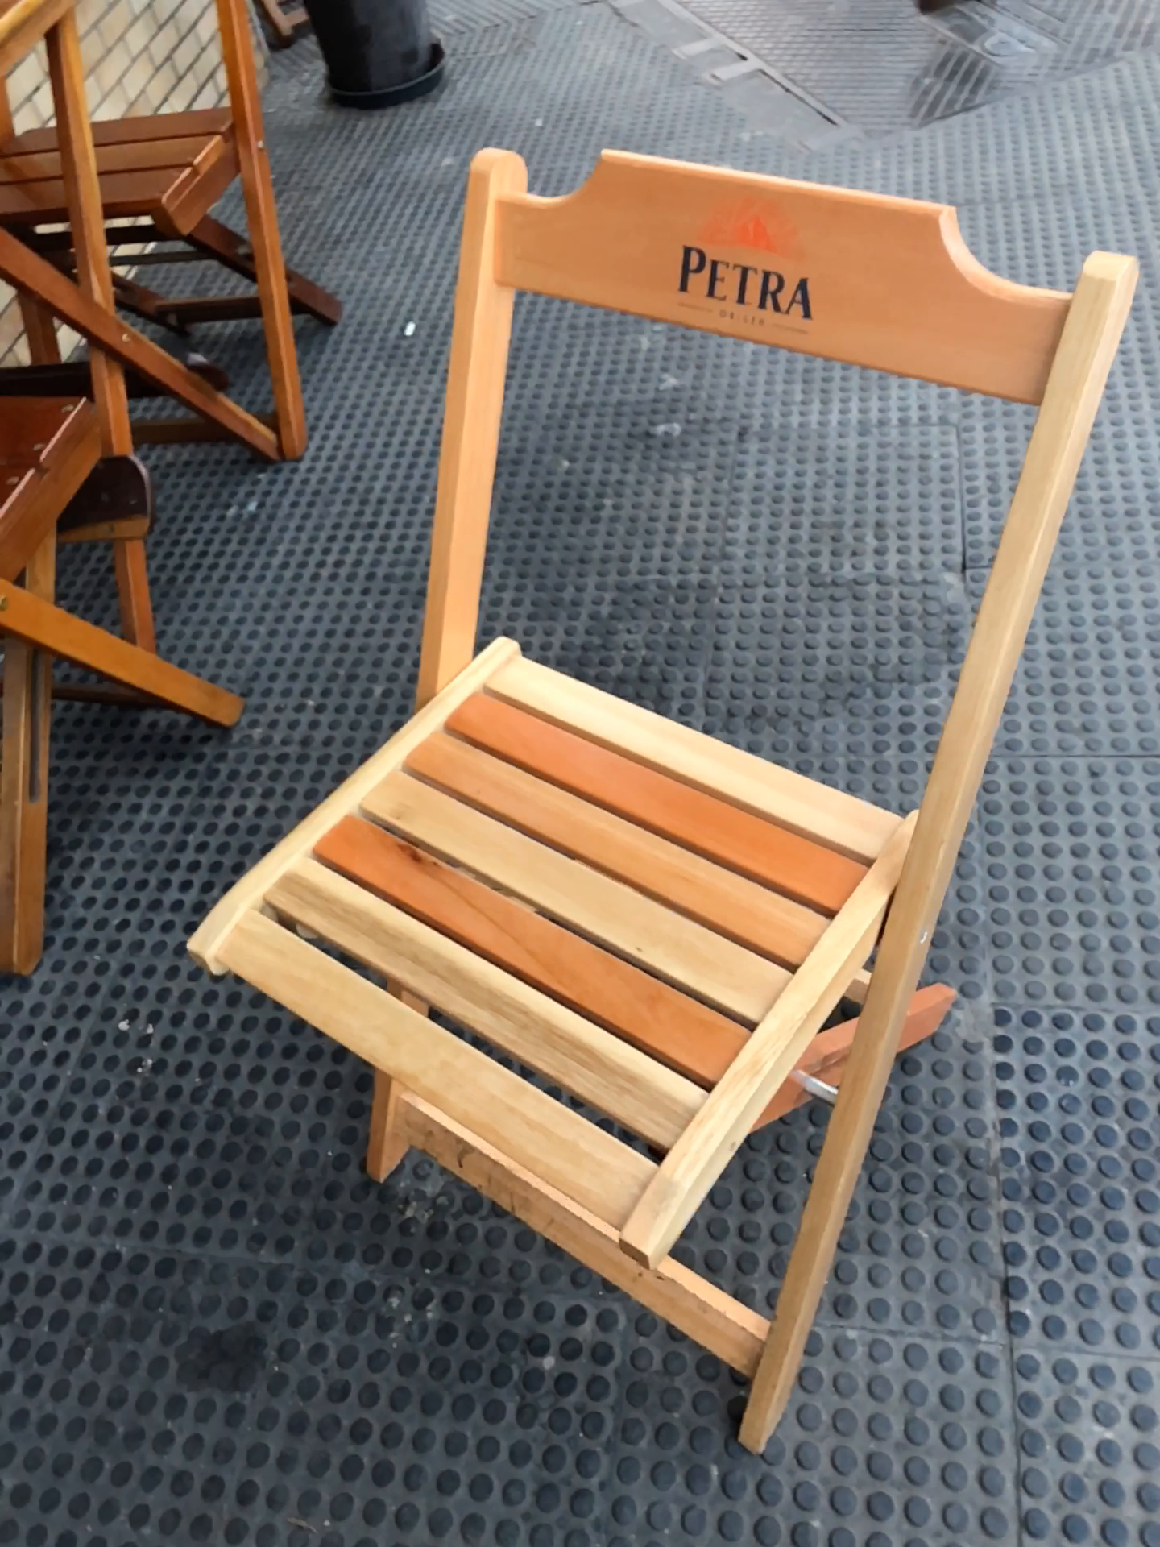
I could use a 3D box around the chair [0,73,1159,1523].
[{"bbox_3d":[0.017,0.044,0.881,0.481,0.756,0.501,25,59,30],"label":"chair"}]
